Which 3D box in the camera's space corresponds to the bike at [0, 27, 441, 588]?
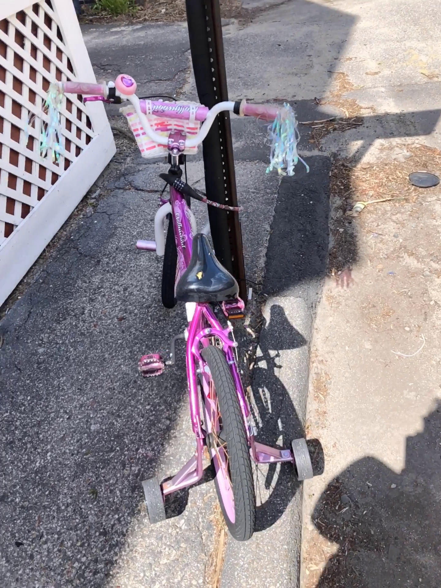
[{"bbox_3d":[-0.054,-0.084,1.327,0.614,0.869,1.233,-11,40,-3],"label":"bike"}]
